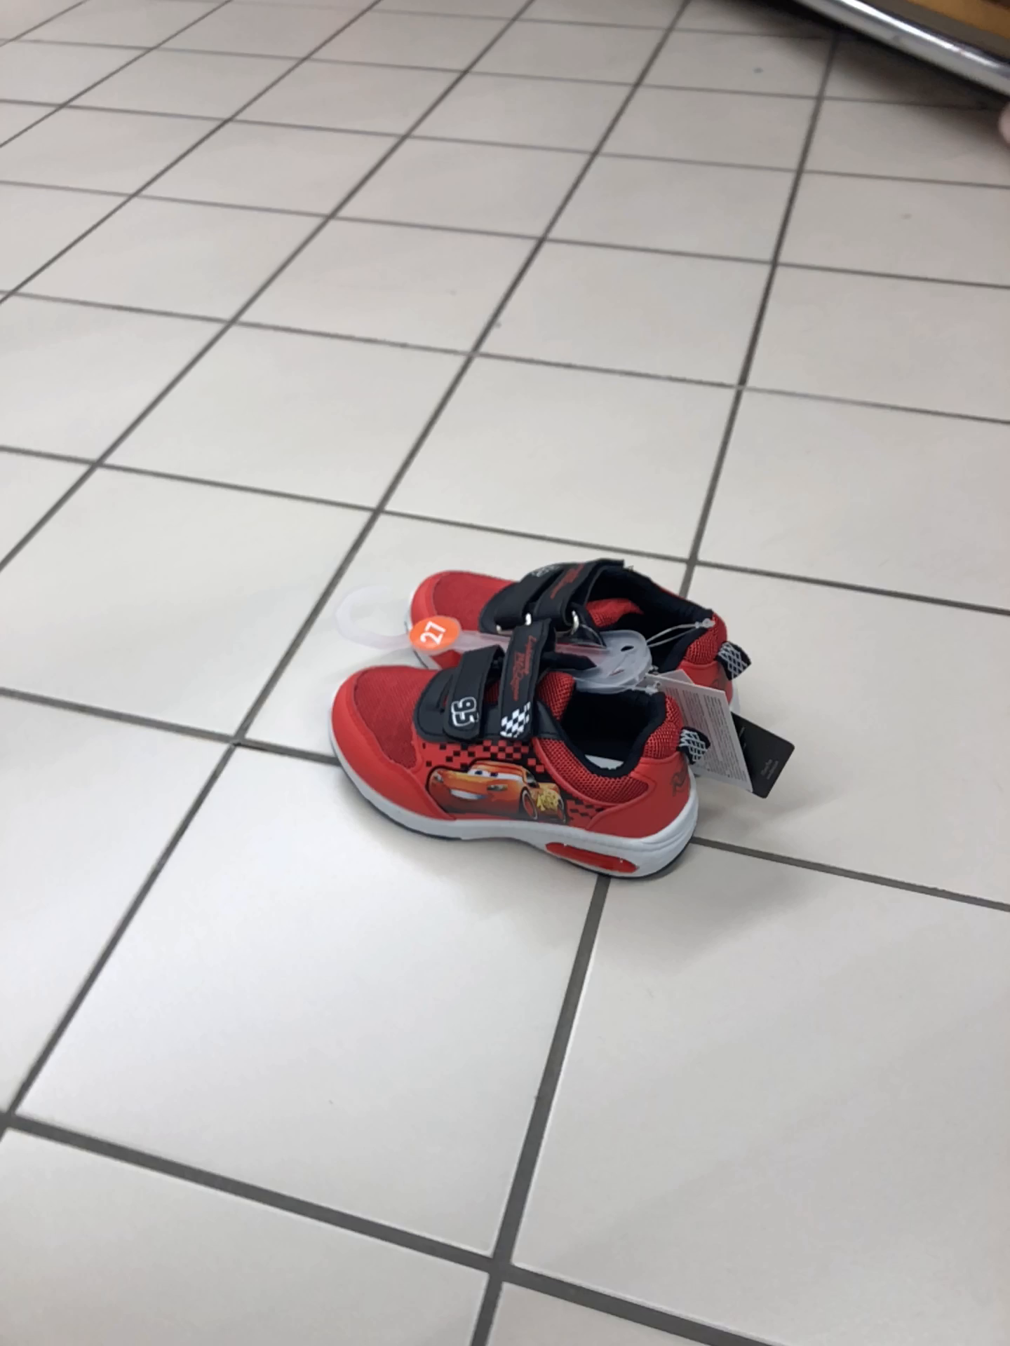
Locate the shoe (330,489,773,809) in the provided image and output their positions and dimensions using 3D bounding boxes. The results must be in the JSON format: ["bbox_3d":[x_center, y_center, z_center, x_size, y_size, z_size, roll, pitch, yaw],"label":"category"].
[{"bbox_3d":[0.023,-0.017,0.563,0.194,0.073,0.088,17,48,18],"label":"shoe"}]

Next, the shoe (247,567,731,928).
[{"bbox_3d":[-0.007,0.029,0.516,0.194,0.074,0.088,17,48,18],"label":"shoe"}]
